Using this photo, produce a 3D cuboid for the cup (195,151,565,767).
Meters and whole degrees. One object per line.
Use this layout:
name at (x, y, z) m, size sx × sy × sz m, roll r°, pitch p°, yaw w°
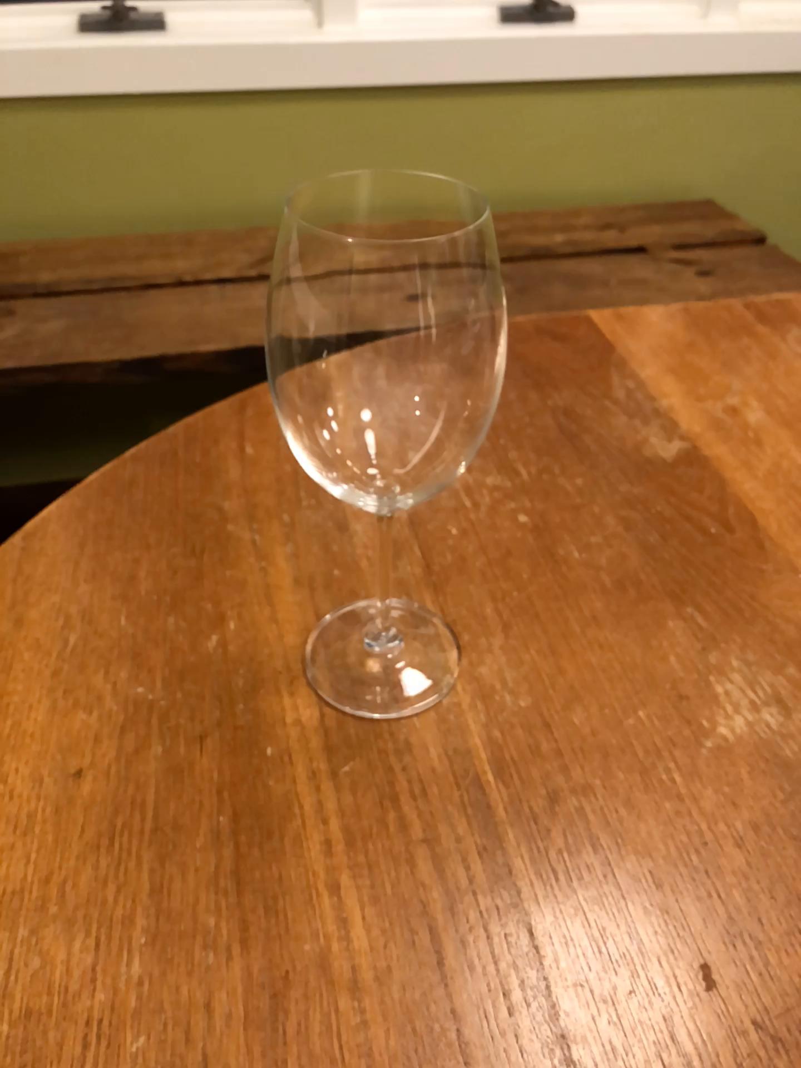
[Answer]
cup at (-0.006, -0.025, 0.398) m, size 0.100 × 0.240 × 0.098 m, roll 1°, pitch 39°, yaw -1°
